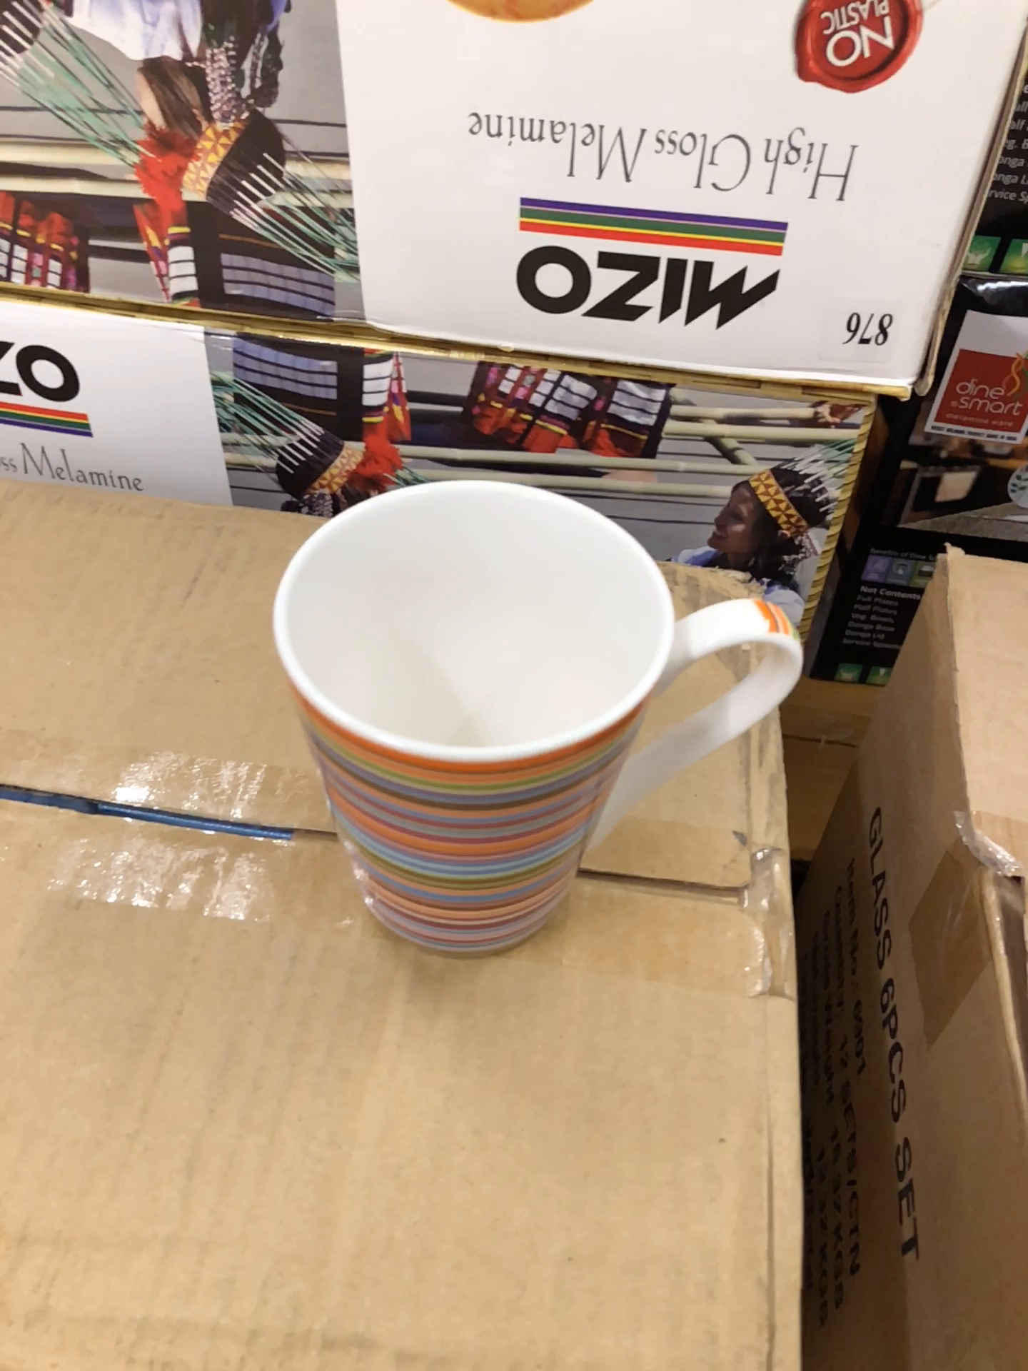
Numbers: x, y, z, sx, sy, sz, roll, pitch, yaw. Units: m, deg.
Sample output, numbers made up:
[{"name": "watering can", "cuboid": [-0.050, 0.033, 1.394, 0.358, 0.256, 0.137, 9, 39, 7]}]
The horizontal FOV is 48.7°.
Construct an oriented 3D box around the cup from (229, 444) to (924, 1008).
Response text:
[{"name": "cup", "cuboid": [0.006, 0.008, 0.268, 0.130, 0.089, 0.080, -6, 47, -9]}]
